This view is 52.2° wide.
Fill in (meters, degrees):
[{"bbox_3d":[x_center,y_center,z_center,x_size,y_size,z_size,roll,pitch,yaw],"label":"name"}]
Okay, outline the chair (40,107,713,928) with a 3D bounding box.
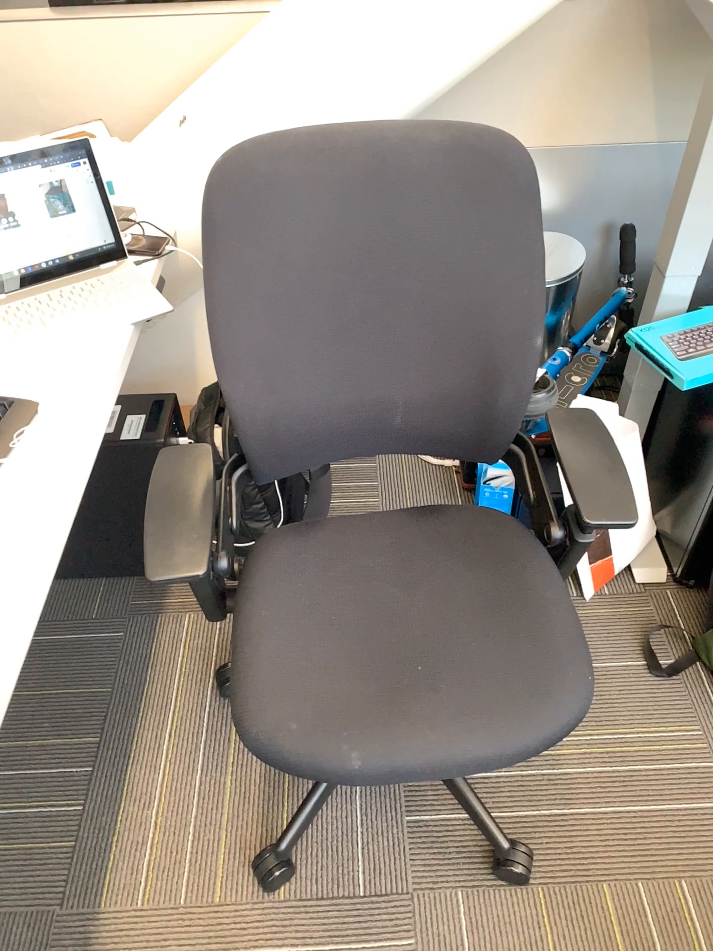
[{"bbox_3d":[0.062,0.212,1.251,0.580,1.362,0.634,-2,44,0],"label":"chair"}]
